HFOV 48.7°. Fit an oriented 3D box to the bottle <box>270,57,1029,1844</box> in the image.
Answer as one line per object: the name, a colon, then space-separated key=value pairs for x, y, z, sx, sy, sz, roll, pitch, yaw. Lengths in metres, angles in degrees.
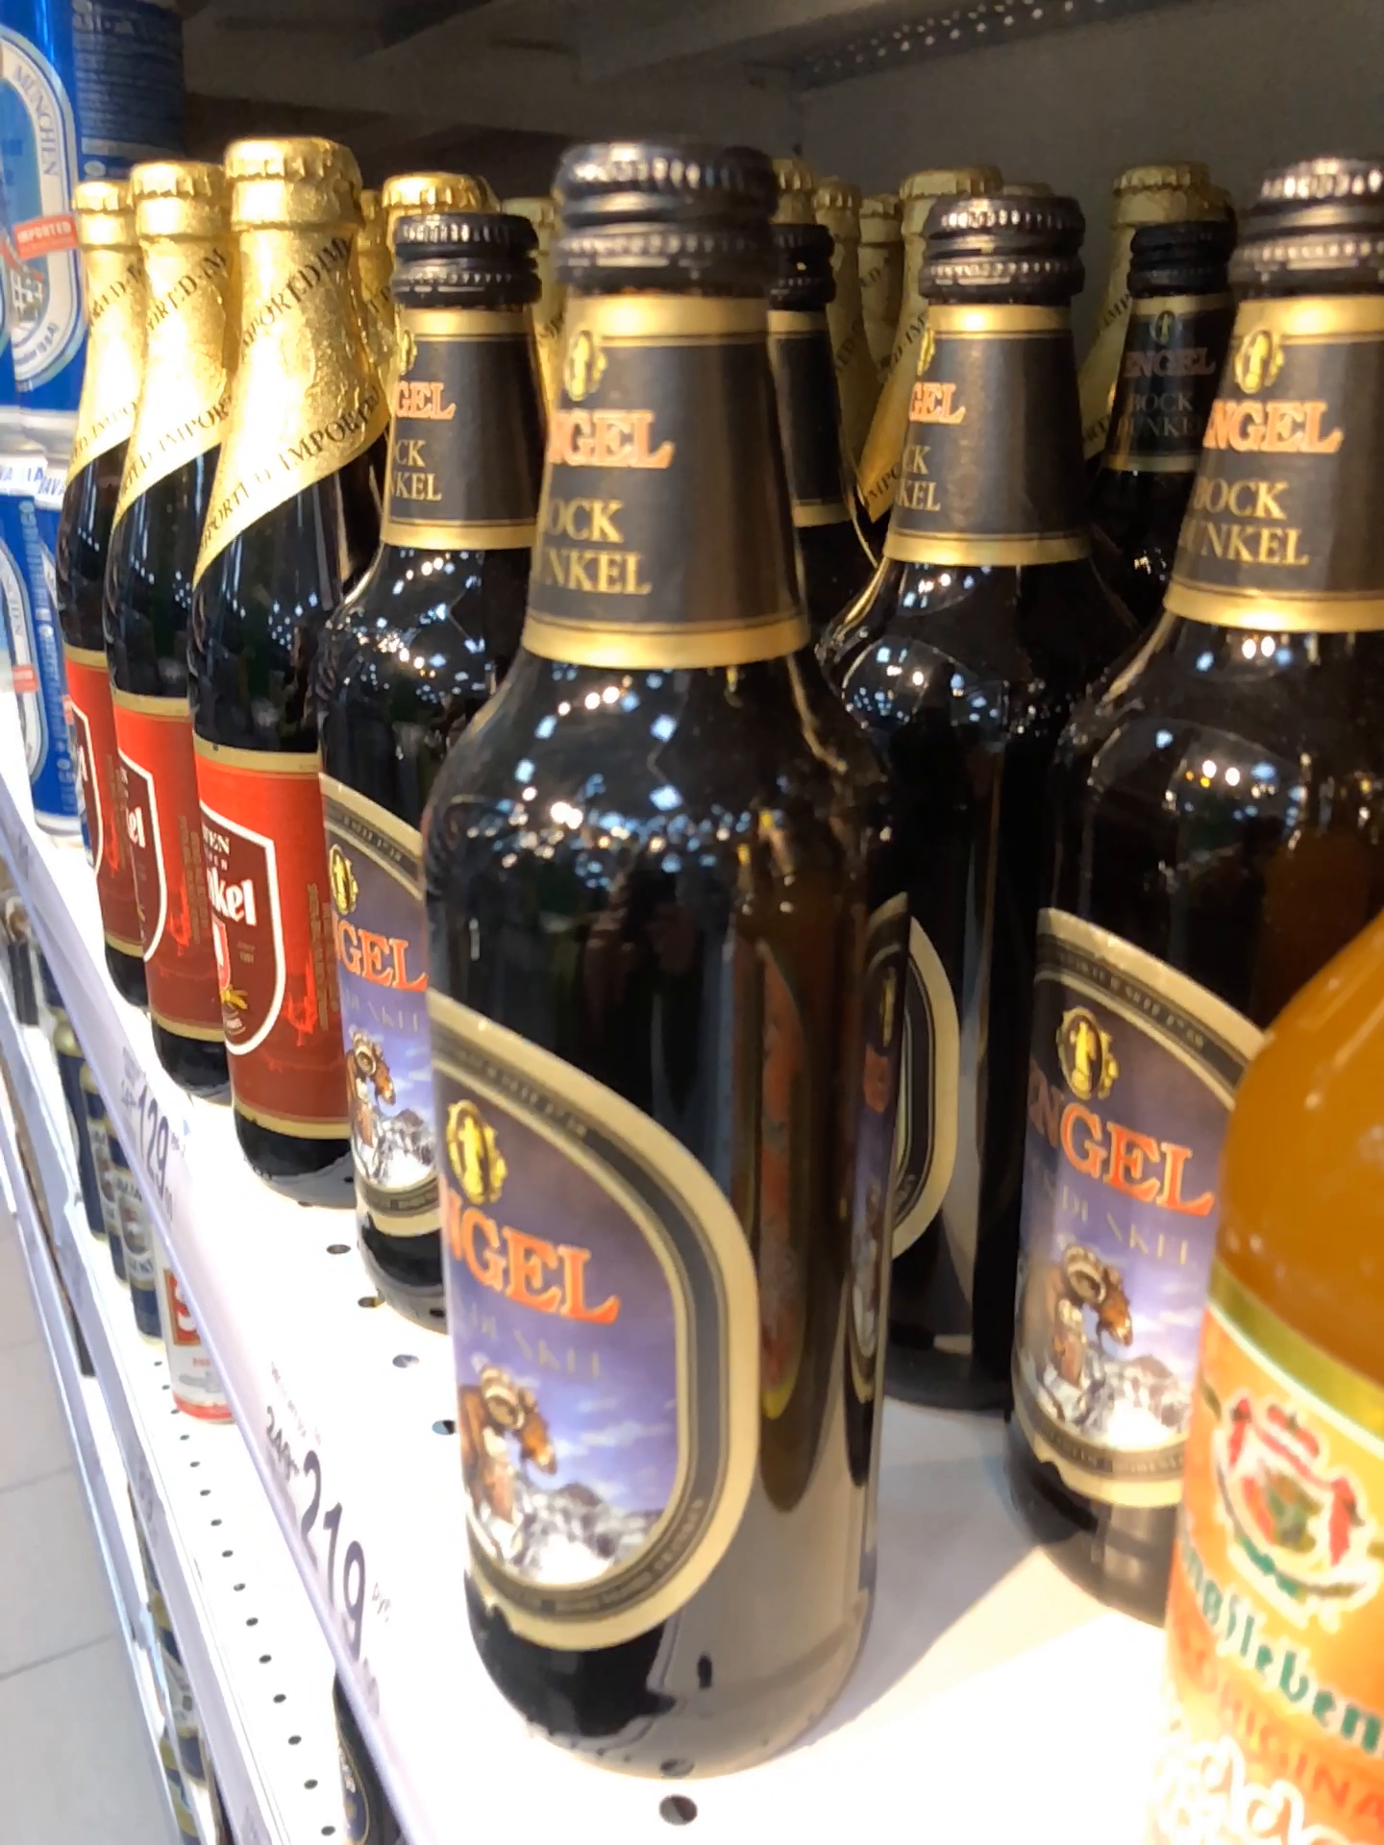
bottle: x=-0.007 y=0.013 z=0.219 sx=0.061 sy=0.229 sz=0.070 roll=-14 pitch=25 yaw=-32

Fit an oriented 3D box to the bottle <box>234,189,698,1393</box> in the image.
bottle: x=-0.044 y=-0.025 z=0.328 sx=0.061 sy=0.233 sz=0.070 roll=-14 pitch=24 yaw=-31

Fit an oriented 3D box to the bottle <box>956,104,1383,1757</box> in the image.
bottle: x=0.098 y=0.006 z=0.245 sx=0.070 sy=0.233 sz=0.069 roll=0 pitch=21 yaw=0
